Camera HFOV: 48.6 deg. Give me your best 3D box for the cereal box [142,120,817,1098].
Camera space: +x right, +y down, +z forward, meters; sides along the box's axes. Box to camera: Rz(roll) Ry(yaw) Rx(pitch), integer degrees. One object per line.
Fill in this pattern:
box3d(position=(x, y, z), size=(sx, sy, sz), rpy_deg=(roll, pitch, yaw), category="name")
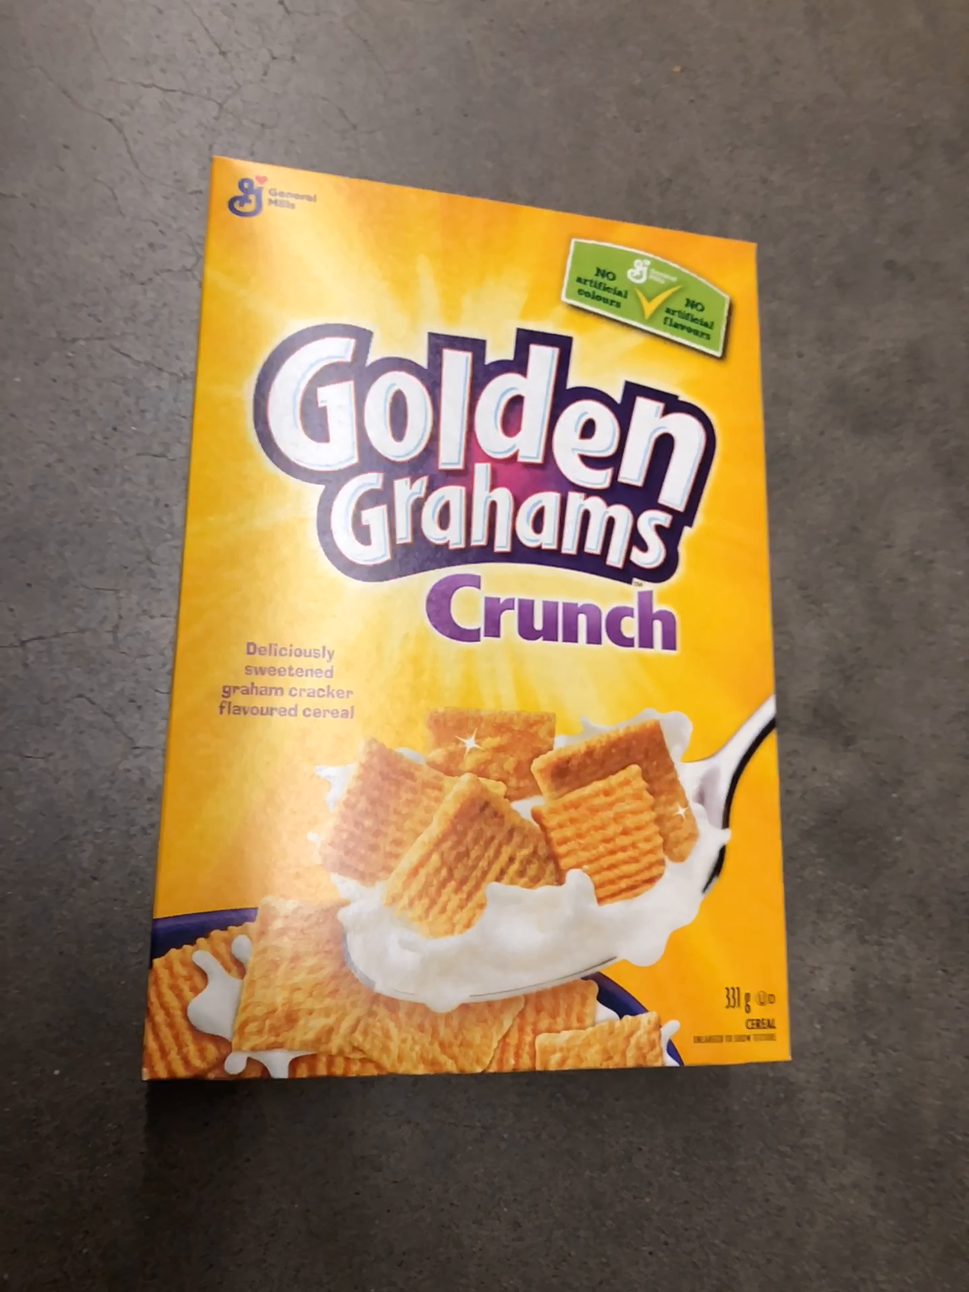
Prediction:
box3d(position=(0.001, -0.012, 0.374), size=(0.200, 0.070, 0.300), rpy_deg=(4, 78, -12), category="cereal box")
